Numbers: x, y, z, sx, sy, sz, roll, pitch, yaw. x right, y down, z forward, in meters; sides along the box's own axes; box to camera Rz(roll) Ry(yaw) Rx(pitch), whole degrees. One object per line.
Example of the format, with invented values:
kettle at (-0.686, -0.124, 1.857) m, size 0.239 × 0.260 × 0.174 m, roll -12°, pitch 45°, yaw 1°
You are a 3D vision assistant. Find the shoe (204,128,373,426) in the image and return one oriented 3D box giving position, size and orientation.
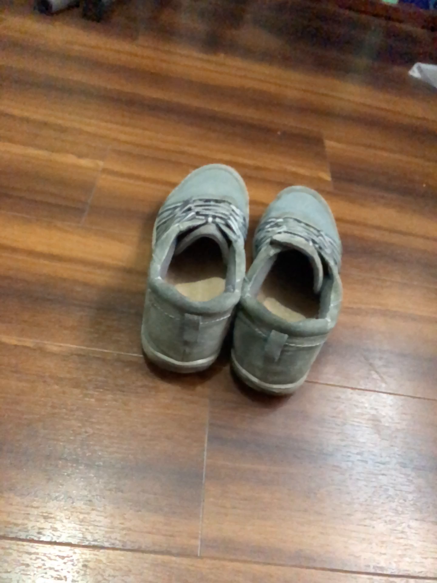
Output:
shoe at (0.079, -0.031, 0.481) m, size 0.100 × 0.109 × 0.282 m, roll 18°, pitch 48°, yaw 1°

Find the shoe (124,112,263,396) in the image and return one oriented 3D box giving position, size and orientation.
shoe at (-0.017, -0.052, 0.497) m, size 0.100 × 0.109 × 0.282 m, roll 10°, pitch 48°, yaw -6°
